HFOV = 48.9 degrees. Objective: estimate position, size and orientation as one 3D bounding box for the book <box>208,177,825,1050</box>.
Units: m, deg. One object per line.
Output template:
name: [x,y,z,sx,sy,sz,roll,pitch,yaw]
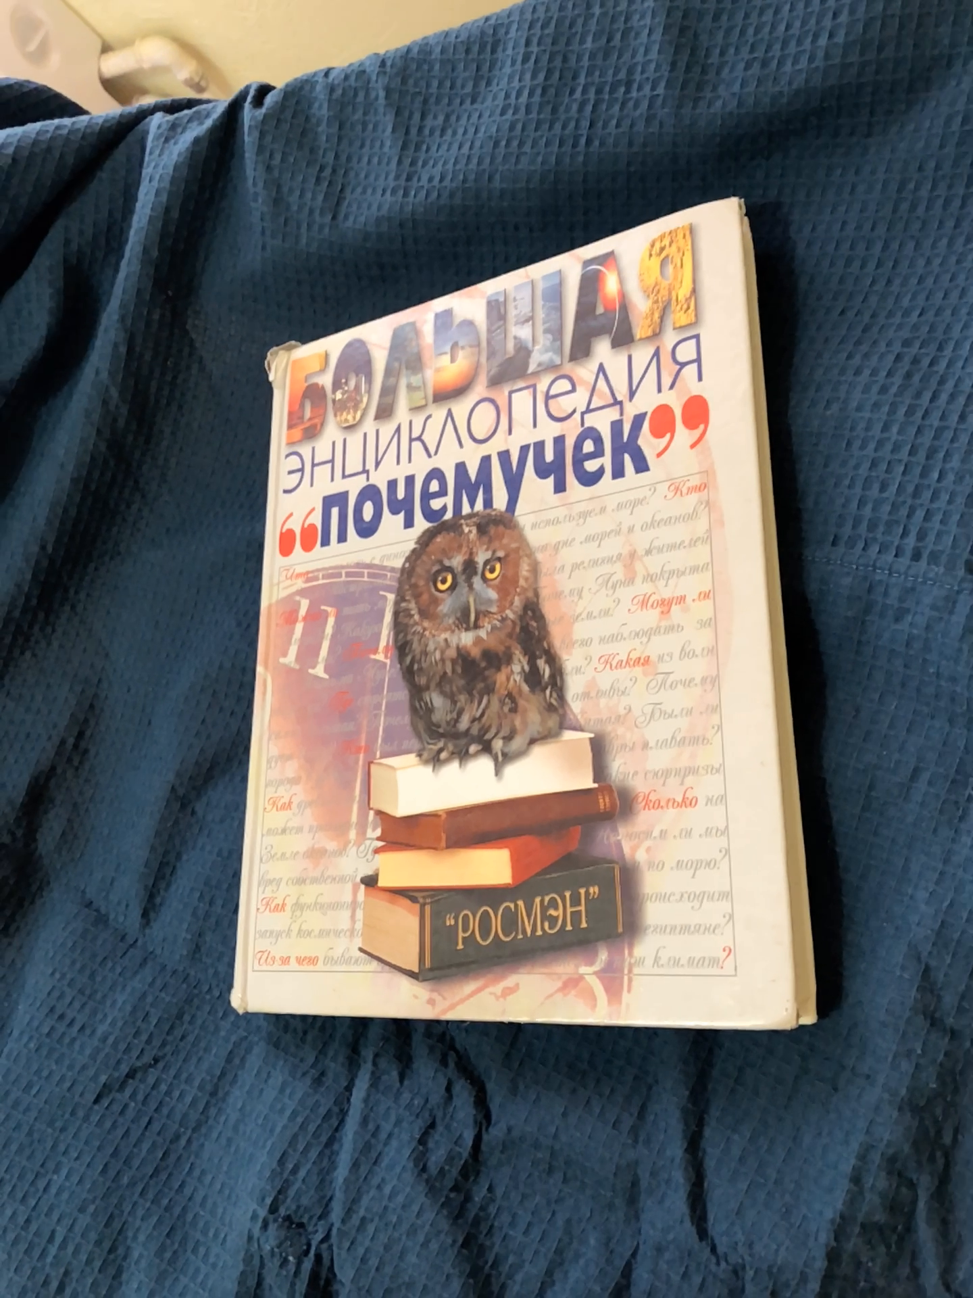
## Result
book: [-0.002,-0.010,0.425,0.235,0.030,0.305,-9,71,29]
